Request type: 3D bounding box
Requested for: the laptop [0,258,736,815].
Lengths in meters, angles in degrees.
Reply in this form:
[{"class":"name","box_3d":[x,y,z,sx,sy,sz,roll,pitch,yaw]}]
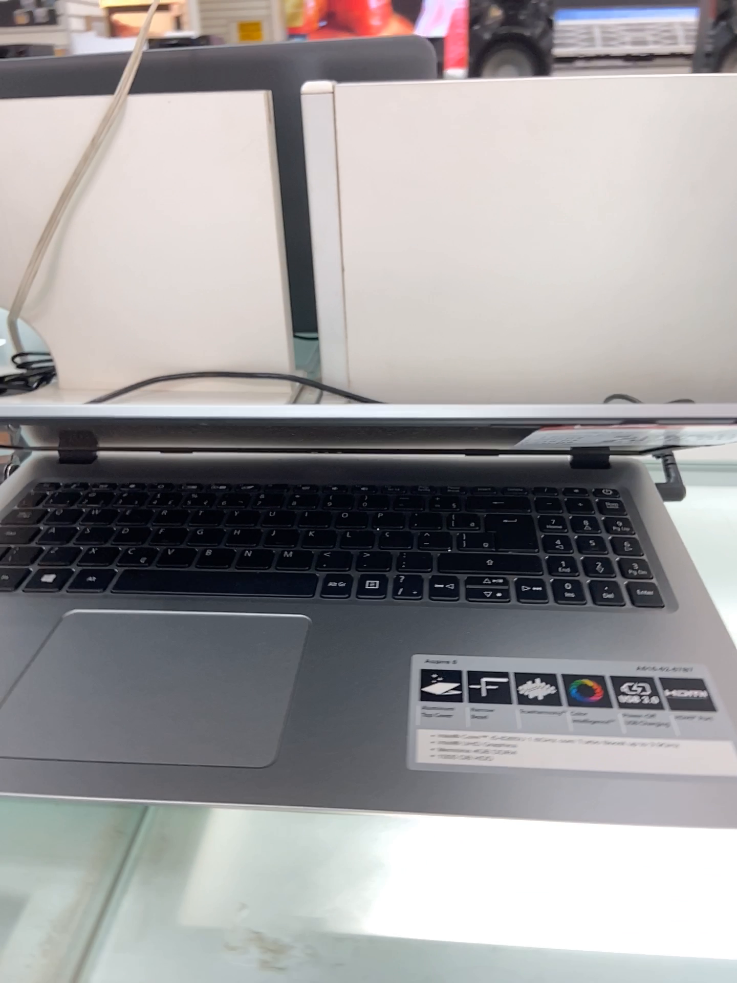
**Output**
[{"class":"laptop","box_3d":[-0.038,-0.012,0.324,0.364,0.116,0.246,0,28,4]}]
